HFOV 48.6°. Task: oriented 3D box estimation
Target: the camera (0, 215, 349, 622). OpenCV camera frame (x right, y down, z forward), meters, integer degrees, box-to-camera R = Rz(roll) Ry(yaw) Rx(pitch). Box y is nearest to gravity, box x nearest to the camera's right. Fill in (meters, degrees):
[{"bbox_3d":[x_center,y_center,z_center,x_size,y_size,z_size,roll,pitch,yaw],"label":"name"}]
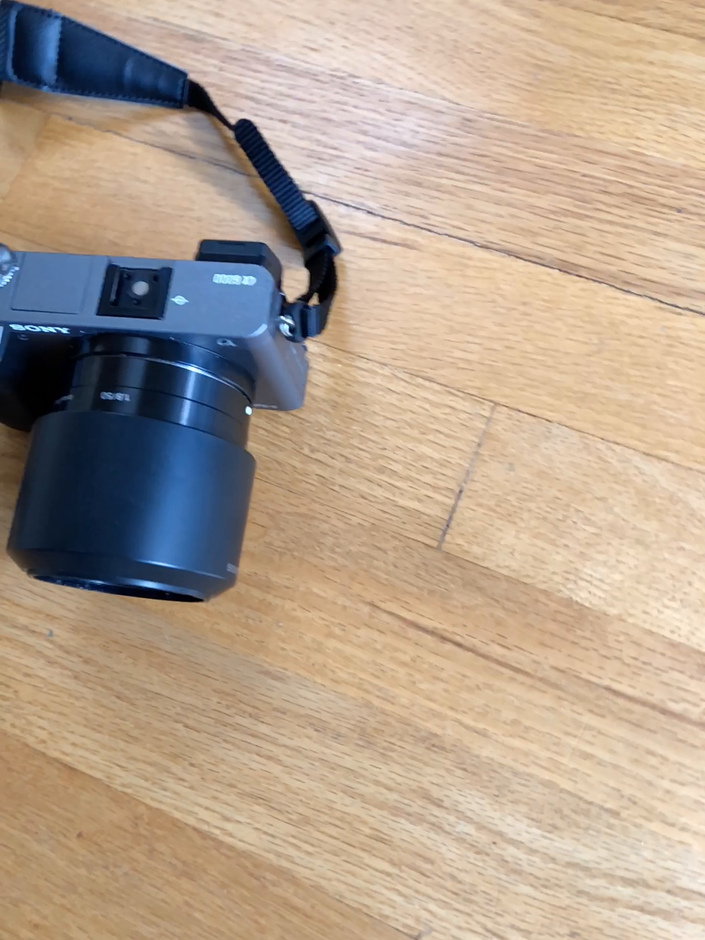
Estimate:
[{"bbox_3d":[-0.079,-0.015,0.254,0.140,0.060,0.110,4,76,8],"label":"camera"}]
